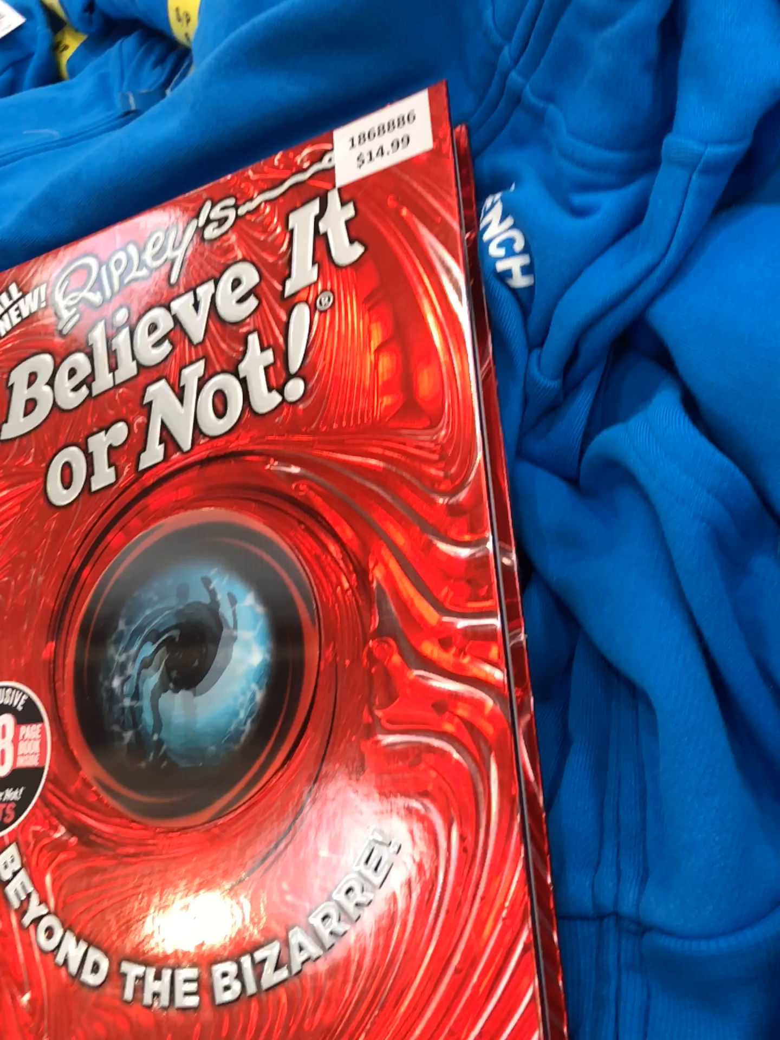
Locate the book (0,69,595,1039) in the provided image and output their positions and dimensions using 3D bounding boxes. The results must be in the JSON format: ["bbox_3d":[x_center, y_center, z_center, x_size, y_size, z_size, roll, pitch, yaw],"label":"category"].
[{"bbox_3d":[-0.072,0.017,0.308,0.244,0.028,0.303,-12,70,24],"label":"book"}]
